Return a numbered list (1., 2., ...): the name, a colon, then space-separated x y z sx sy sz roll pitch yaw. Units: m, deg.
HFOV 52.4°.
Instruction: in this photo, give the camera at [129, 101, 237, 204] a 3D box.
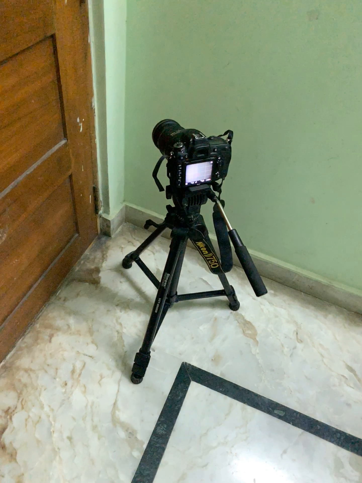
1. camera: -0.005 -0.216 0.872 0.175 0.128 0.190 -16 53 -22
